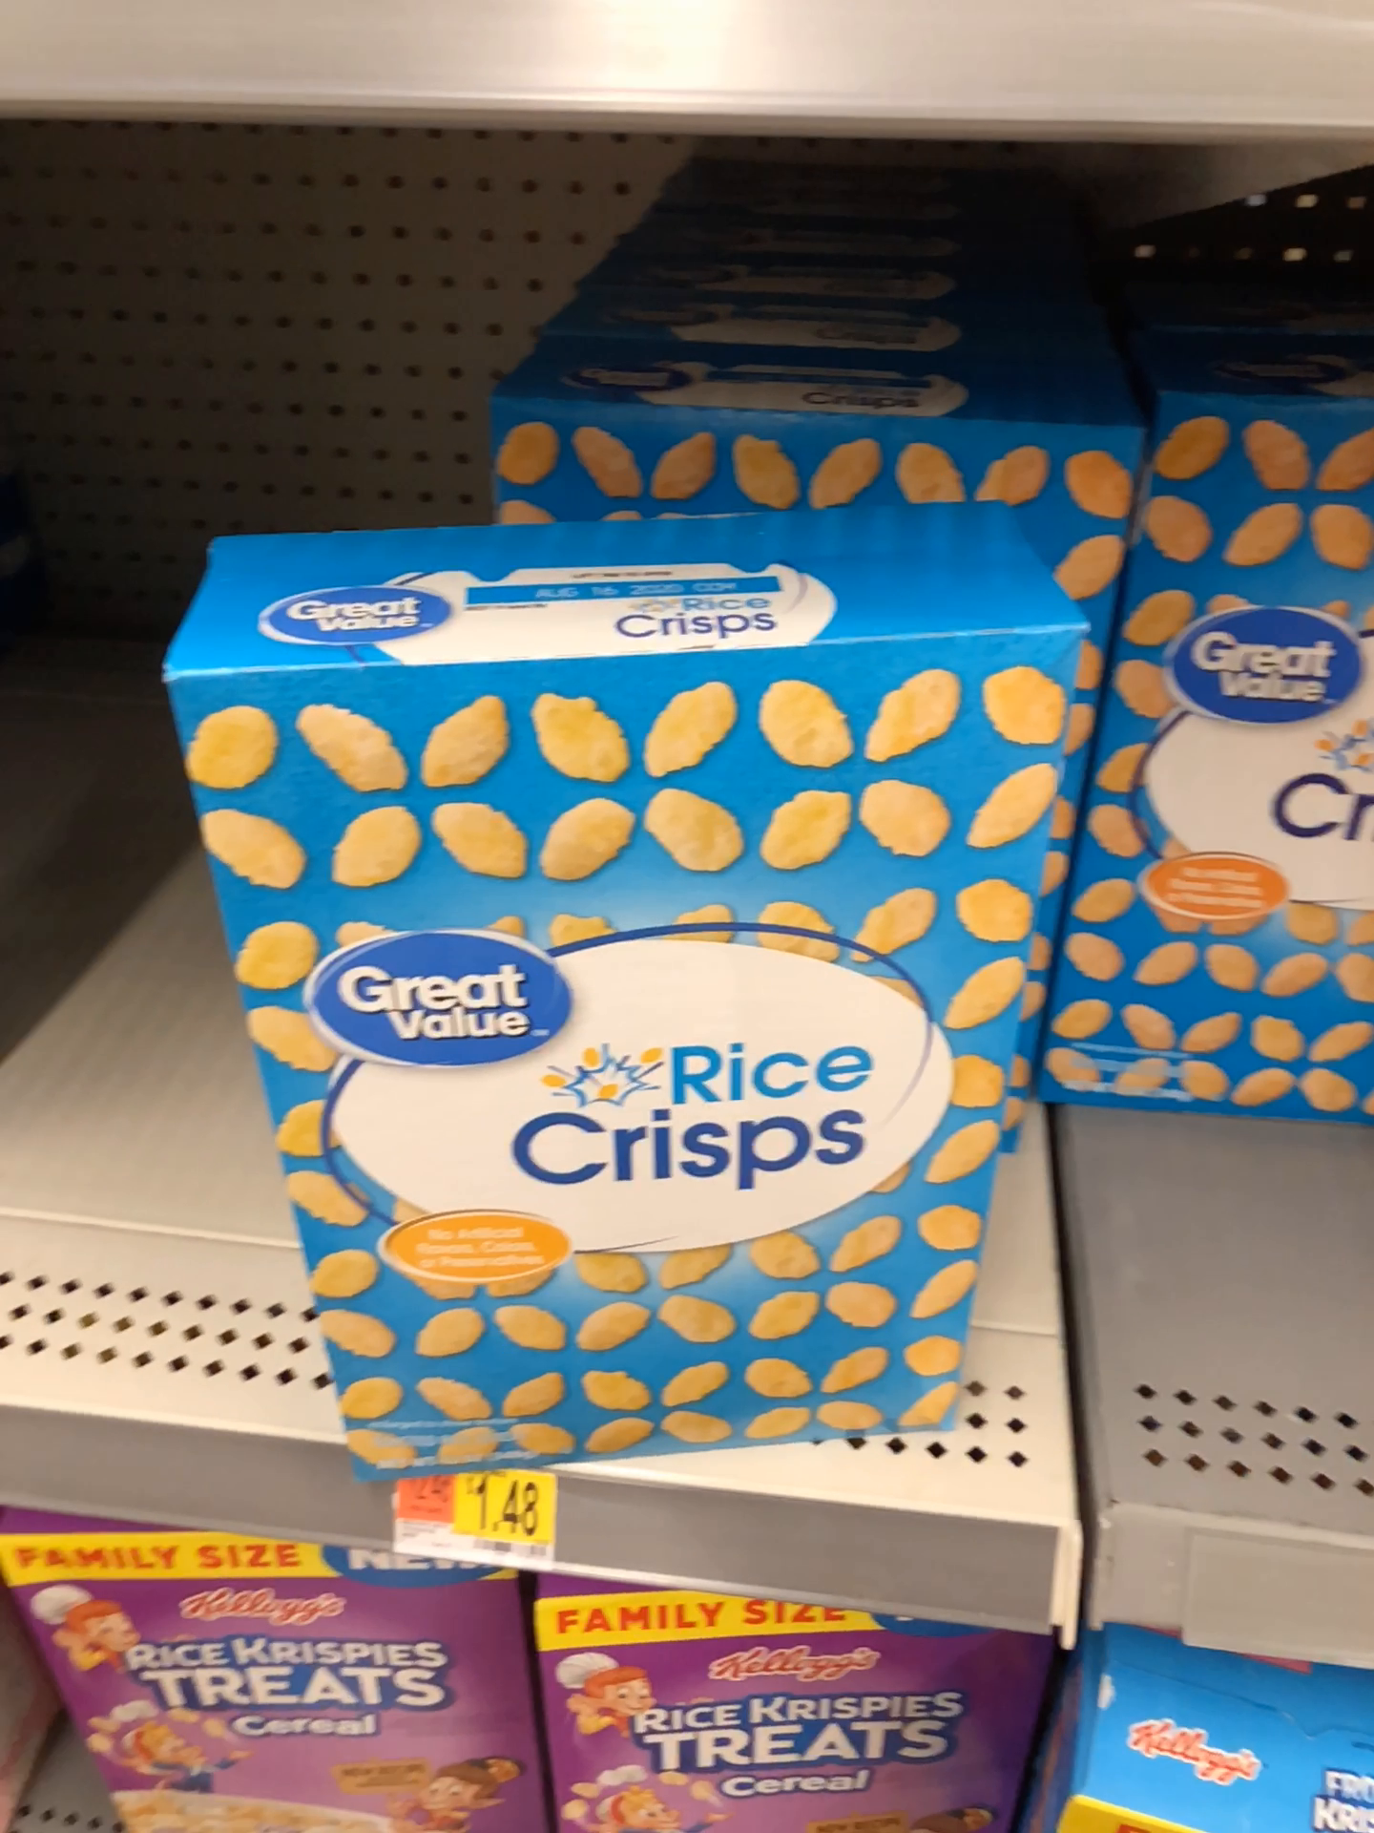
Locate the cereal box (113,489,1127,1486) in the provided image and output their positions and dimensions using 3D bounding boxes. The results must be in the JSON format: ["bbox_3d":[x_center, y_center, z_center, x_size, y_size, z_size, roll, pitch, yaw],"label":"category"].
[{"bbox_3d":[-0.012,0.034,0.408,0.200,0.269,0.070,-4,37,-4],"label":"cereal box"}]
